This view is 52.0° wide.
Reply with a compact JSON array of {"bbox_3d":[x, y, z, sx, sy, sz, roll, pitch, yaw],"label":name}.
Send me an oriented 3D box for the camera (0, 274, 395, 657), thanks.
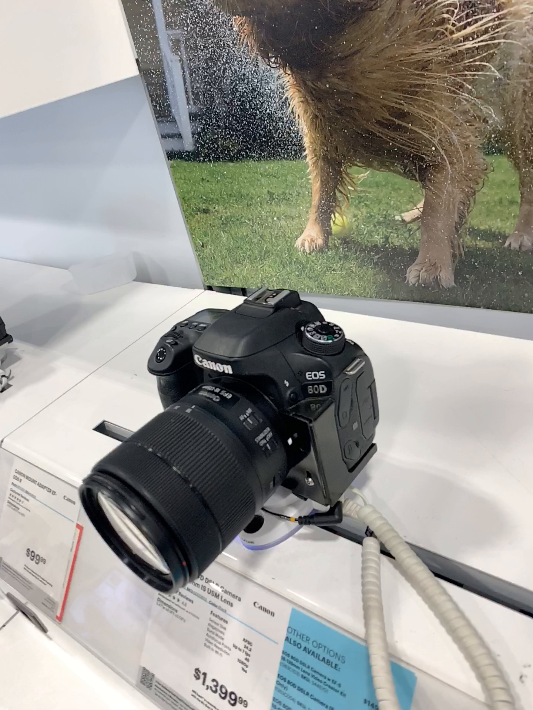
[{"bbox_3d":[-0.031,0.041,0.313,0.140,0.099,0.160,12,41,36],"label":"camera"}]
